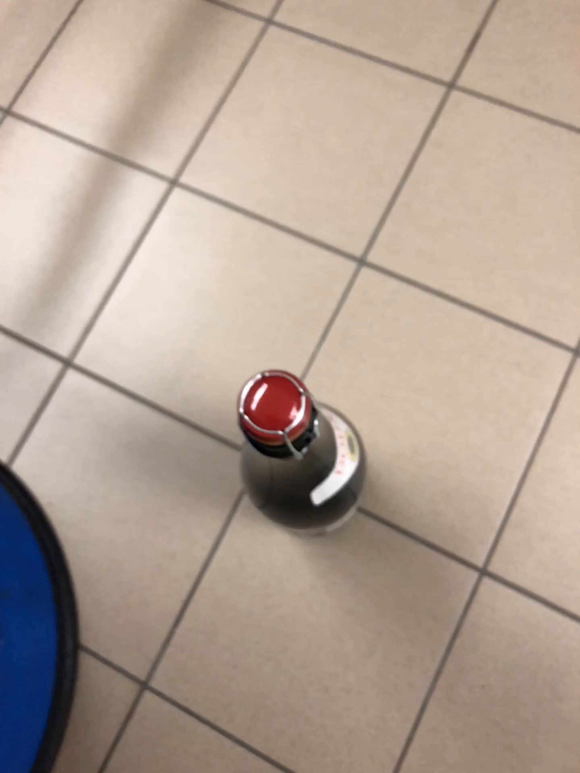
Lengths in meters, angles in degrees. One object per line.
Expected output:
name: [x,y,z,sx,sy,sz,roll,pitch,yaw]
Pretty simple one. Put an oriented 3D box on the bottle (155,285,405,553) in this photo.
bottle: [0.009,0.046,0.387,0.090,0.290,0.100,-2,76,5]
